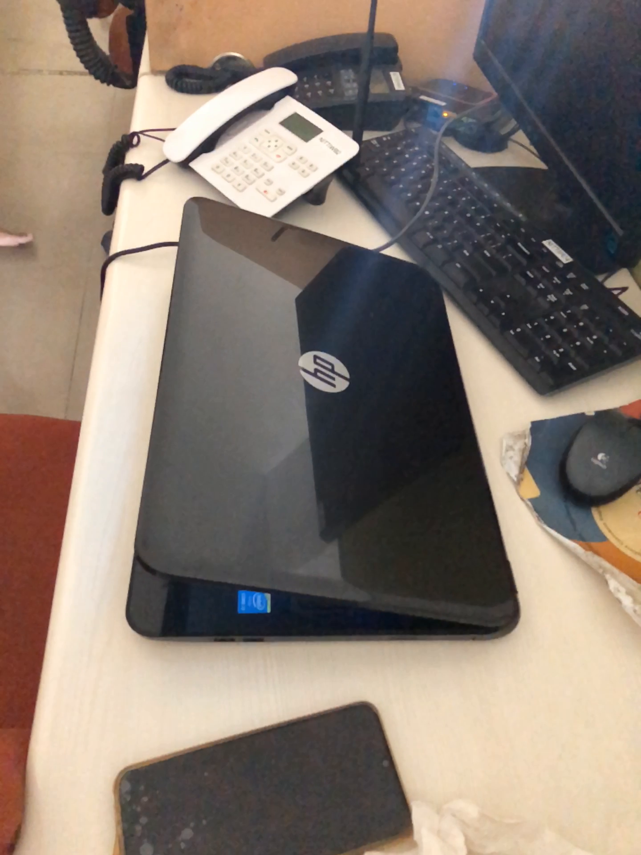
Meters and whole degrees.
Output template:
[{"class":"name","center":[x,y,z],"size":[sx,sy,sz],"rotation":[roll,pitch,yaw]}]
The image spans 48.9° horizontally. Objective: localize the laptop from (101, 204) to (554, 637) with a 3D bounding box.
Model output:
[{"class":"laptop","center":[-0.004,-0.030,0.522],"size":[0.245,0.072,0.352],"rotation":[1,49,-4]}]
